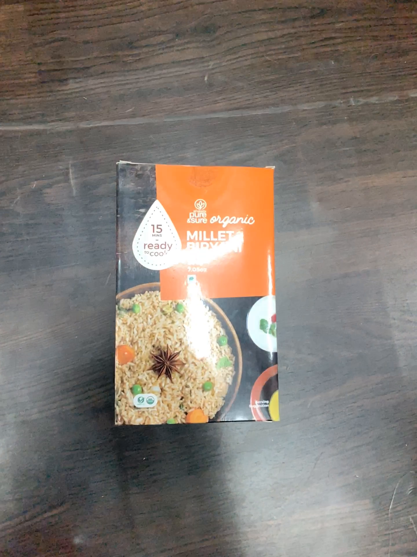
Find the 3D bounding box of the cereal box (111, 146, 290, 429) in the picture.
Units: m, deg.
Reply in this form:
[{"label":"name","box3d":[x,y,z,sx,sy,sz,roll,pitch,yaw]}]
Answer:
[{"label":"cereal box","box3d":[-0.007,0.006,0.291,0.110,0.050,0.170,0,86,-8]}]
